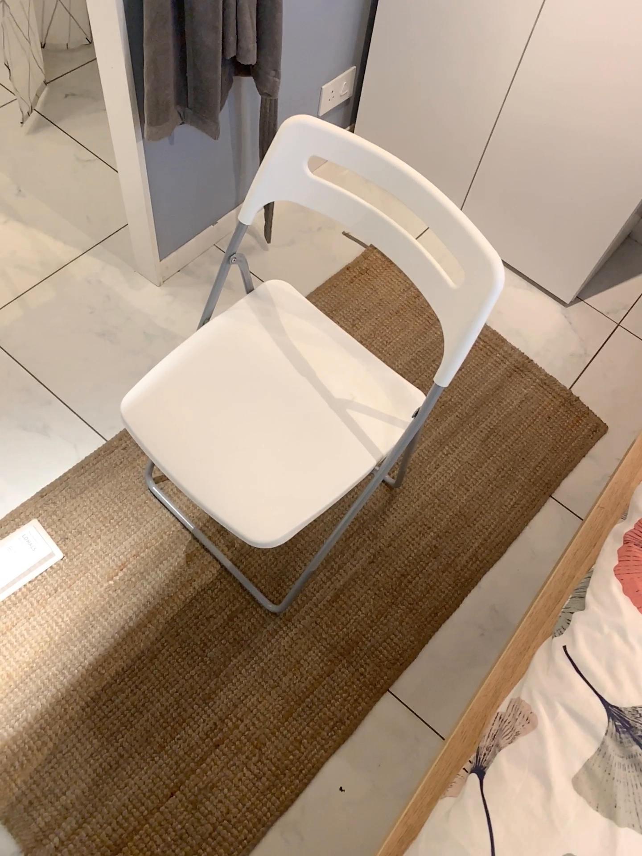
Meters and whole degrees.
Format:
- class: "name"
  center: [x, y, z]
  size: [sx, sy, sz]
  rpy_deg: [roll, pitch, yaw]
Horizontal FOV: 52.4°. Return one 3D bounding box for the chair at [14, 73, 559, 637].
- class: "chair"
  center: [-0.064, -0.056, 1.031]
  size: [0.450, 0.659, 0.430]
  rpy_deg: [42, 65, 15]
